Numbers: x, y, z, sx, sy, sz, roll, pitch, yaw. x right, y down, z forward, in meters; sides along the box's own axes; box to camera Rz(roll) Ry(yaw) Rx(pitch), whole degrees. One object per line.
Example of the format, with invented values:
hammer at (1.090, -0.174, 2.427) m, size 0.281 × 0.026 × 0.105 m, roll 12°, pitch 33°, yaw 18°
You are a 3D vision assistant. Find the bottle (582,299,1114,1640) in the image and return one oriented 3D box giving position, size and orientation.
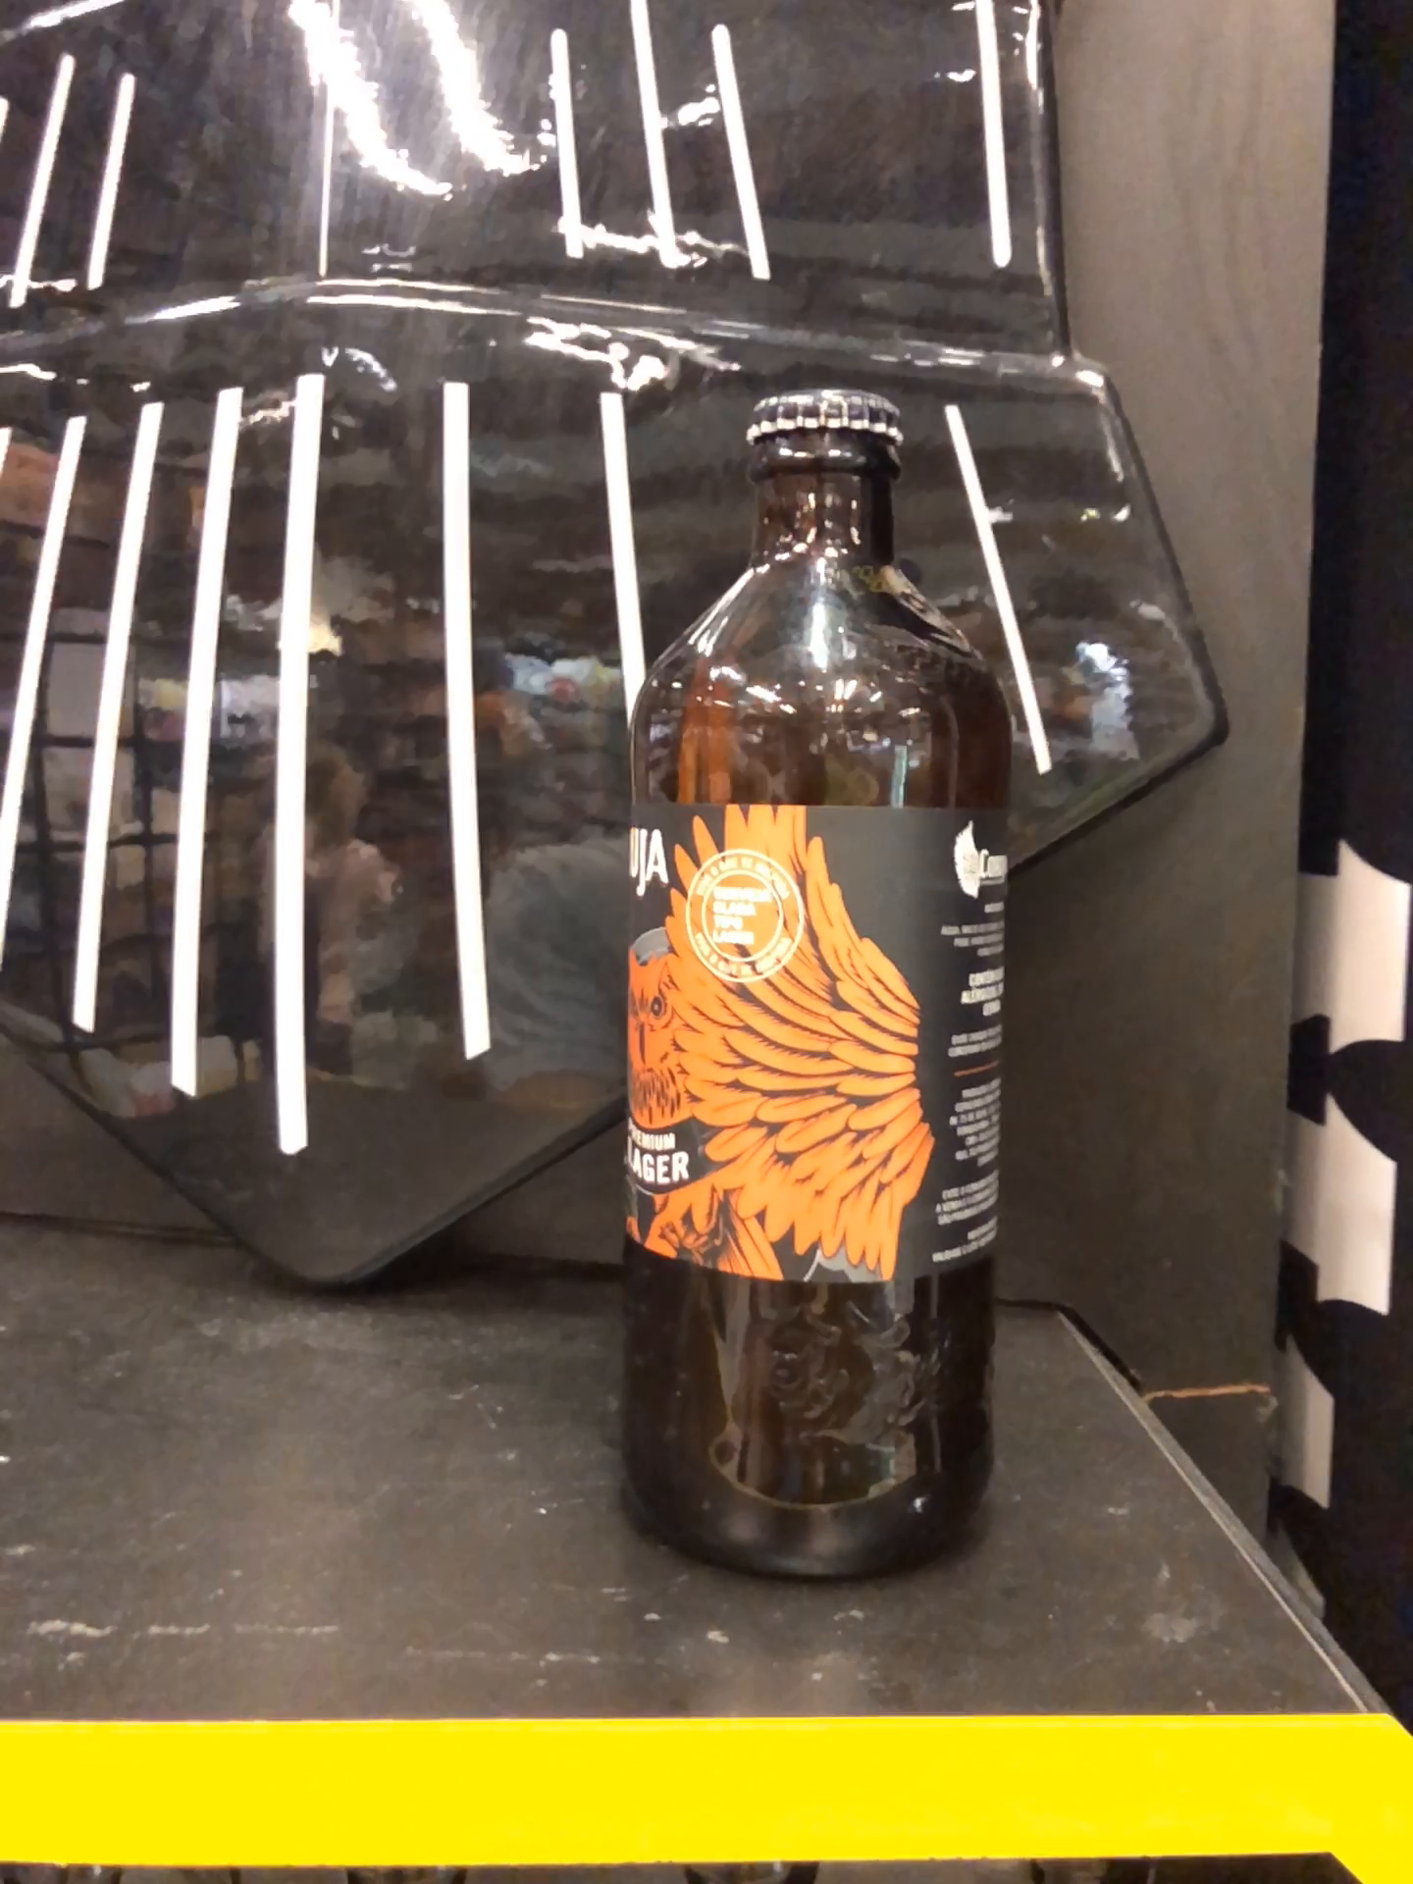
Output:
bottle at (0.024, 0.004, 0.304) m, size 0.070 × 0.220 × 0.070 m, roll 1°, pitch 4°, yaw 0°
